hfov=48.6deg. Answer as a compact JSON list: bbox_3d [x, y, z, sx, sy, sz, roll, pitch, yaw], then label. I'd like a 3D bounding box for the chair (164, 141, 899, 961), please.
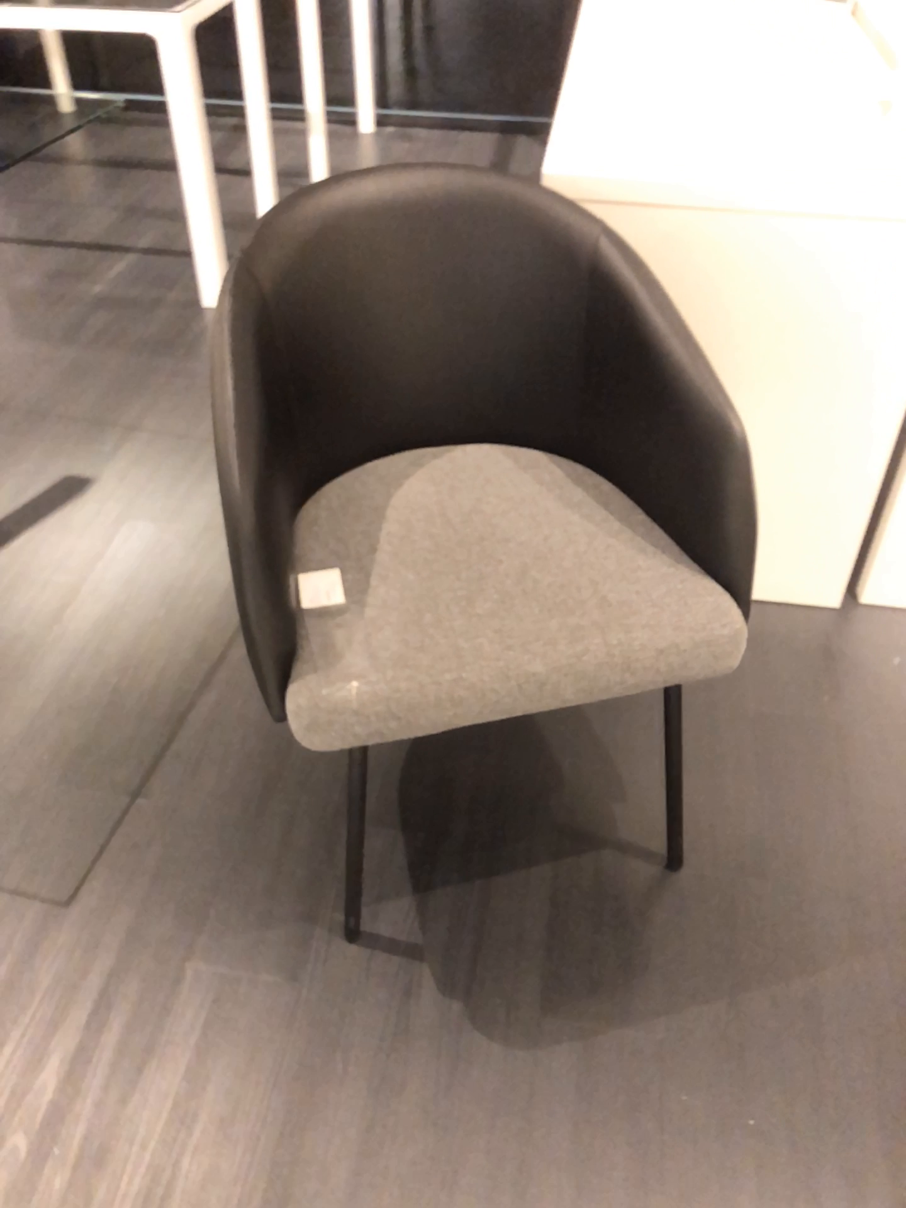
[{"bbox_3d":[0.019,-0.078,1.281,0.610,0.764,0.594,-9,42,-10],"label":"chair"}]
